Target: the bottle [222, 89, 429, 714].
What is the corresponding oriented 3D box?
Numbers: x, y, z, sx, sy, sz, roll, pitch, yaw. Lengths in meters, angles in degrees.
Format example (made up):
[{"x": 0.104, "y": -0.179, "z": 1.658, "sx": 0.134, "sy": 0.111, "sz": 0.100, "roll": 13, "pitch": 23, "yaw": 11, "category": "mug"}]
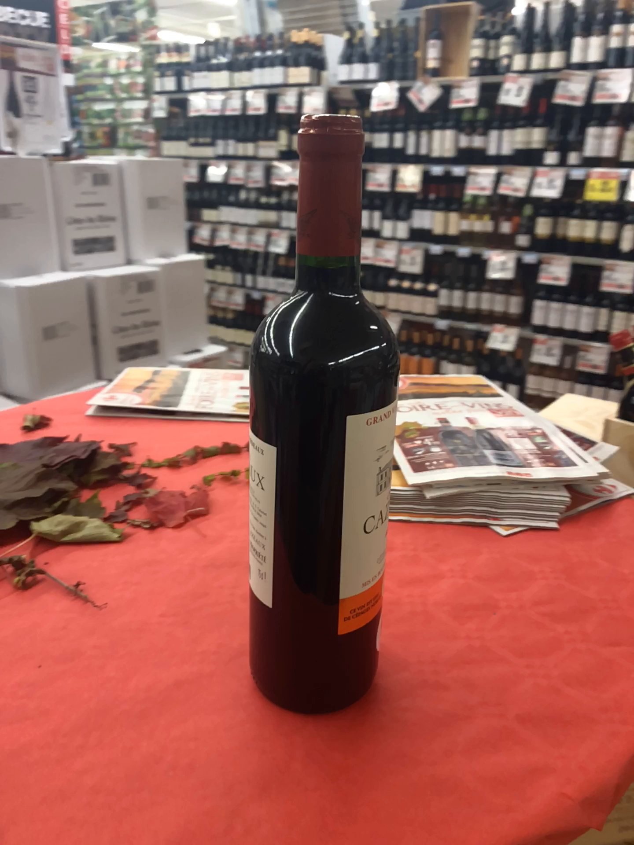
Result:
[{"x": 0.004, "y": -0.002, "z": 0.358, "sx": 0.080, "sy": 0.299, "sz": 0.080, "roll": 1, "pitch": 20, "yaw": 0, "category": "bottle"}]
